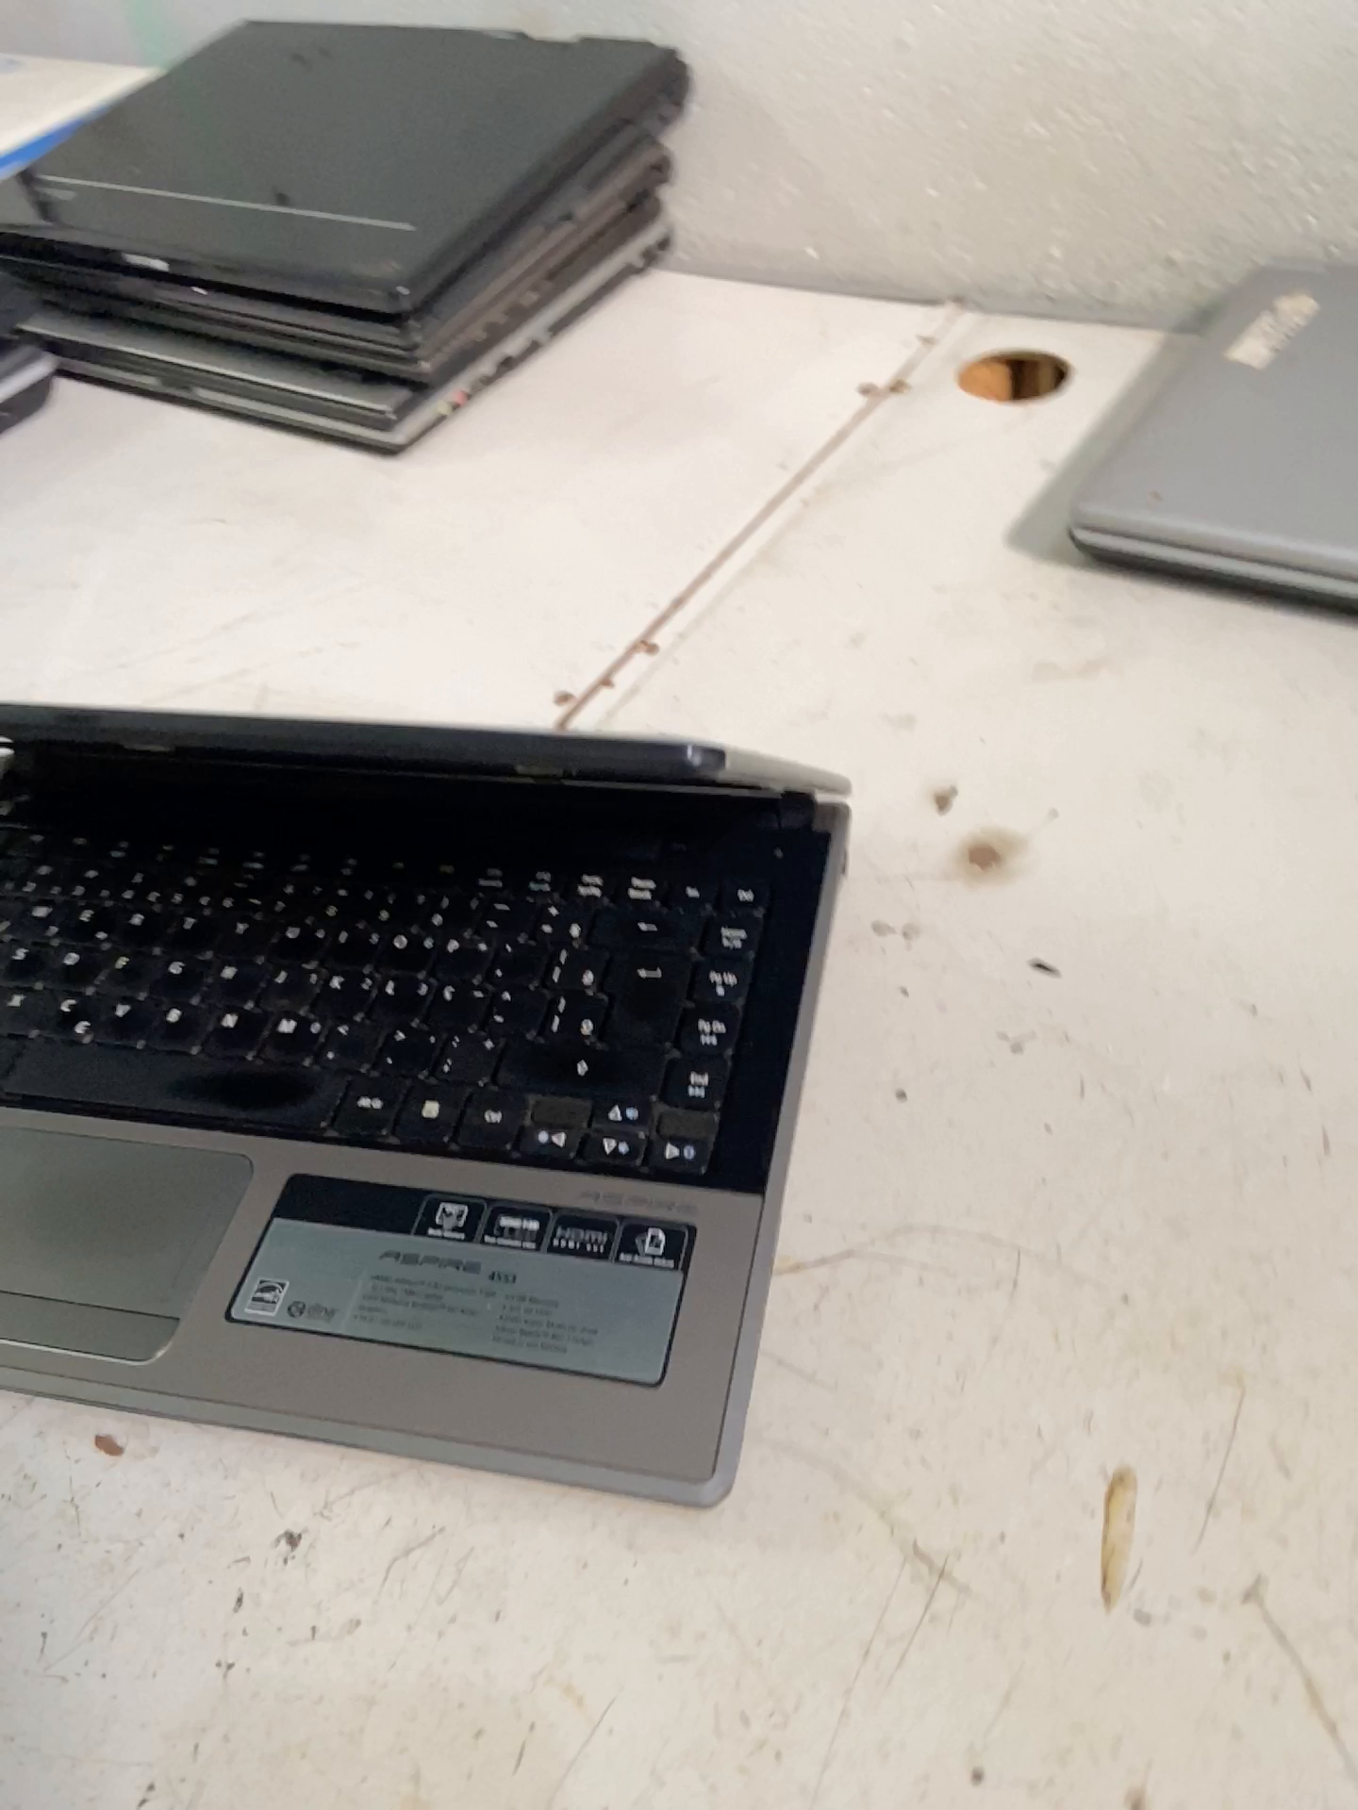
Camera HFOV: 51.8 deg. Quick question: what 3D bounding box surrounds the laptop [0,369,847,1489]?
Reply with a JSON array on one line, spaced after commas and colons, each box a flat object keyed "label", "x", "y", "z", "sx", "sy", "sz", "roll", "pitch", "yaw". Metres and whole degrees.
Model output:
[{"label": "laptop", "x": -0.138, "y": -0.013, "z": 0.378, "sx": 0.334, "sy": 0.157, "sz": 0.227, "roll": 4, "pitch": 47, "yaw": 12}]
